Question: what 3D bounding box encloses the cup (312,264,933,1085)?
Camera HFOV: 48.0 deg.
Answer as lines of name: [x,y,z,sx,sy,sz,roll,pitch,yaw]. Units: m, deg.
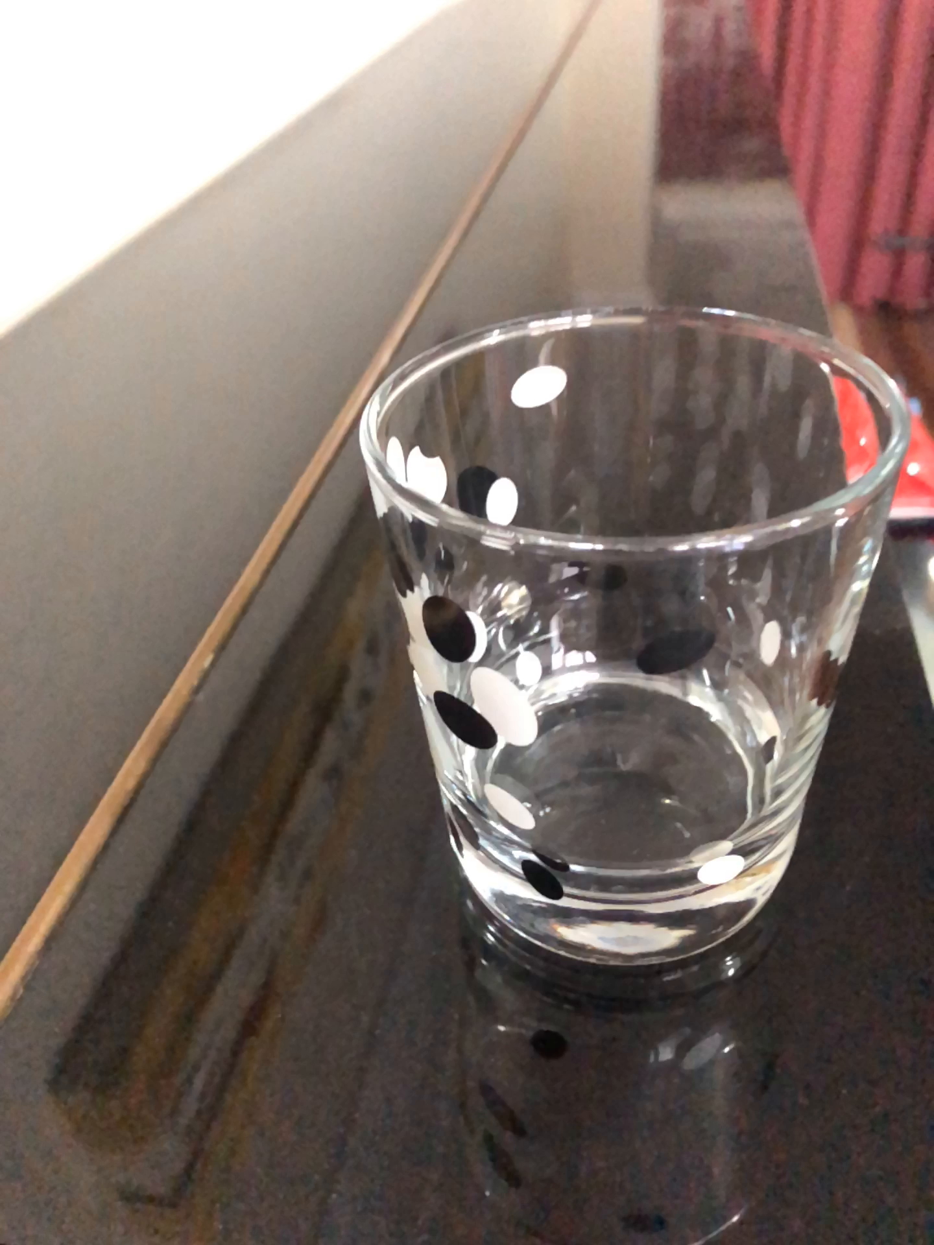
cup: [0.025,0.004,0.183,0.070,0.099,0.081,-16,37,-16]
